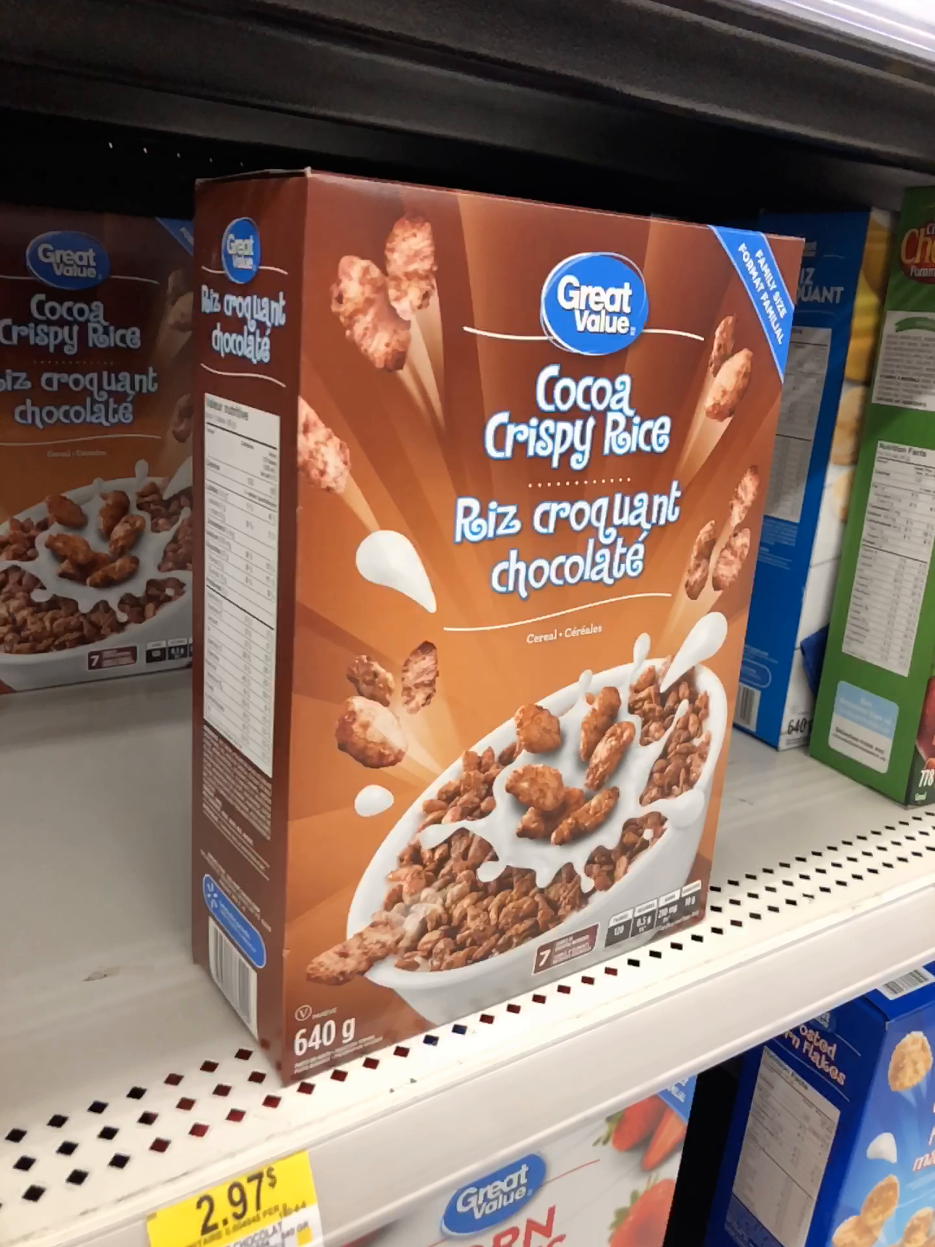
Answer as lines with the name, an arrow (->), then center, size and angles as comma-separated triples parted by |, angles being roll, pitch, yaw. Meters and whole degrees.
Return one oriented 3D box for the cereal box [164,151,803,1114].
cereal box -> 0.005, -0.002, 0.394 | 0.210, 0.298, 0.080 | -8, 21, -34
